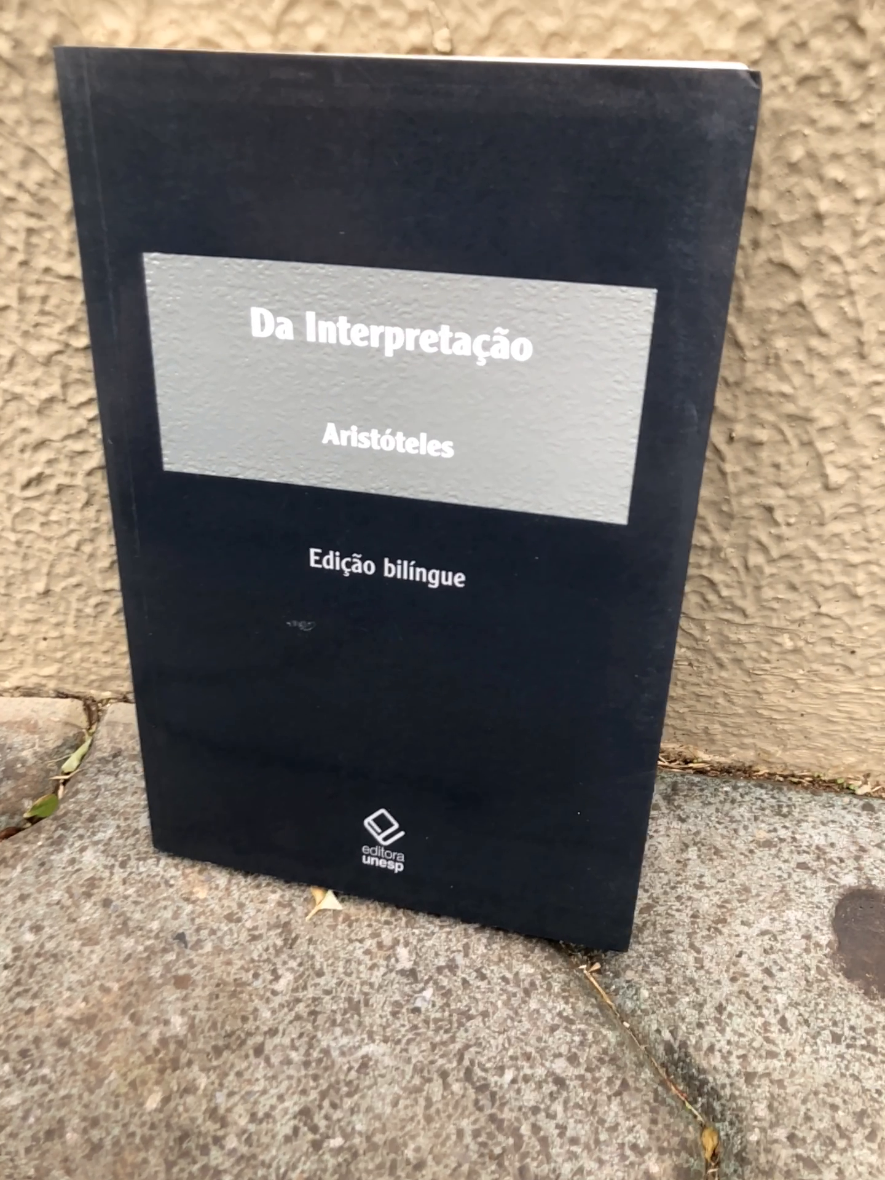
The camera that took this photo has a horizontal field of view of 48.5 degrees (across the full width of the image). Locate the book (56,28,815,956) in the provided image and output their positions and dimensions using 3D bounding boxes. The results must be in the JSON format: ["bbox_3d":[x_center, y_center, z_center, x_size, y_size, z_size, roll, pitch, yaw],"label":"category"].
[{"bbox_3d":[-0.006,-0.015,0.217,0.132,0.187,0.030,9,26,14],"label":"book"}]
